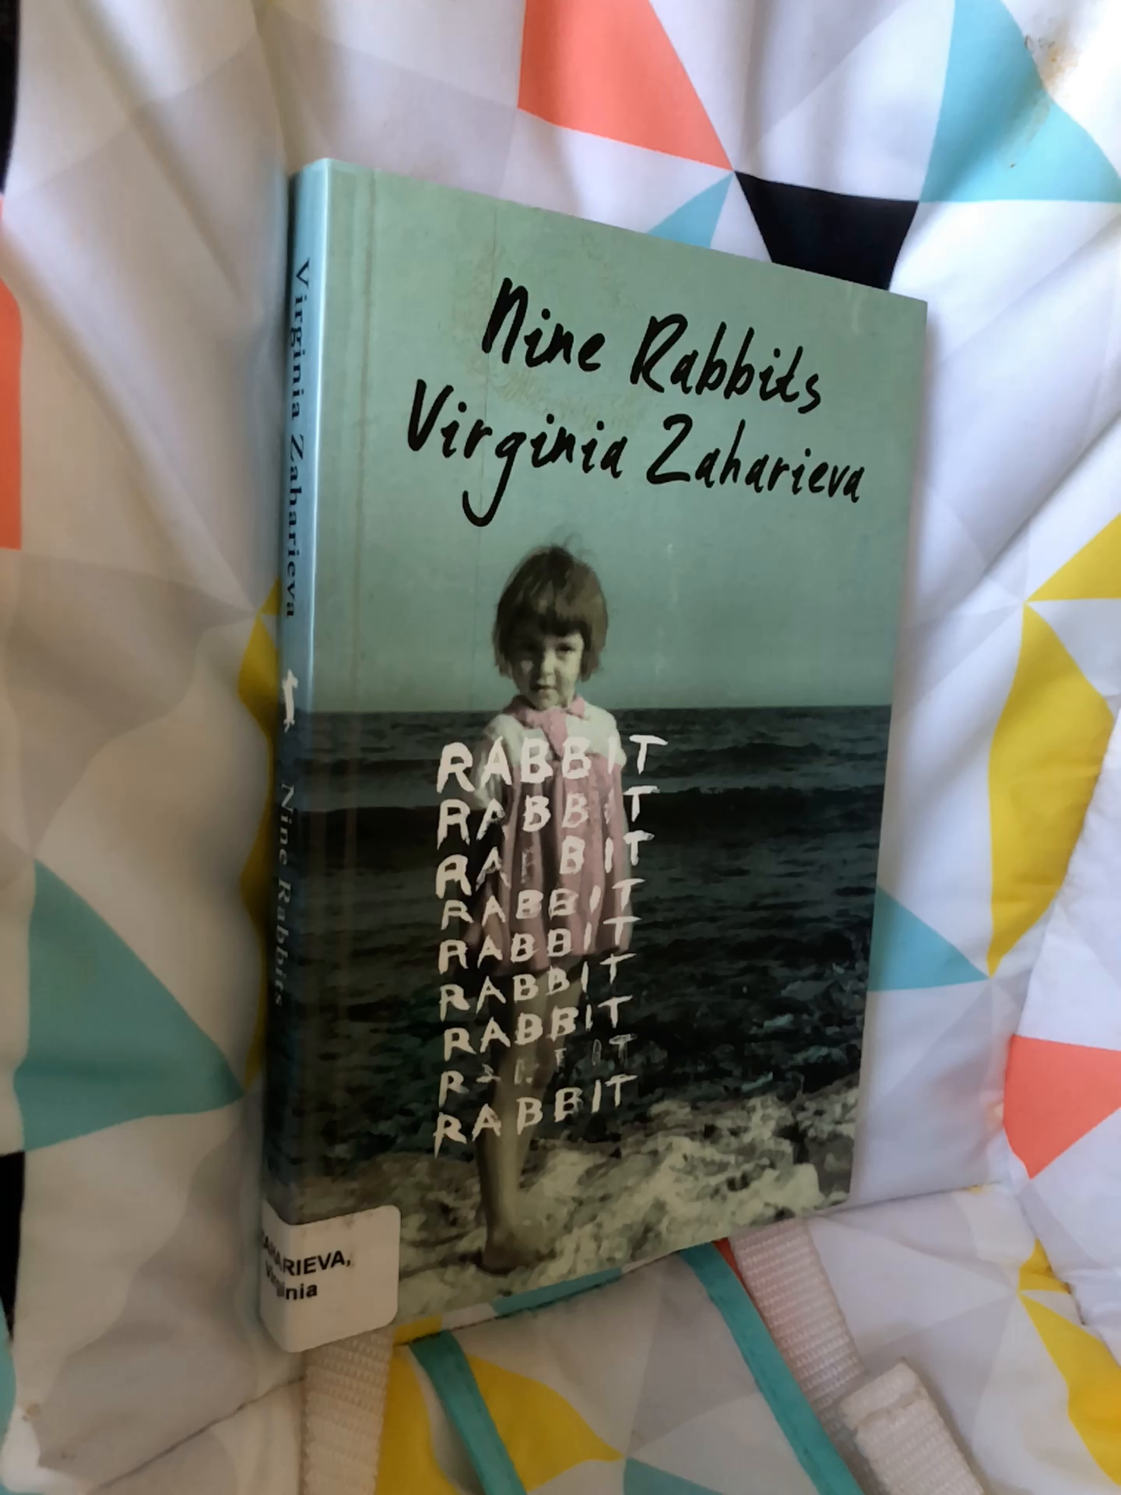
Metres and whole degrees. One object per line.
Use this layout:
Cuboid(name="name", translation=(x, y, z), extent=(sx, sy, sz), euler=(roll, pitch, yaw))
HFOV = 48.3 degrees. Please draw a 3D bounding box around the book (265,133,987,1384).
Cuboid(name="book", translation=(0.018, 0.004, 0.248), extent=(0.146, 0.025, 0.200), euler=(-2, 99, -33))
